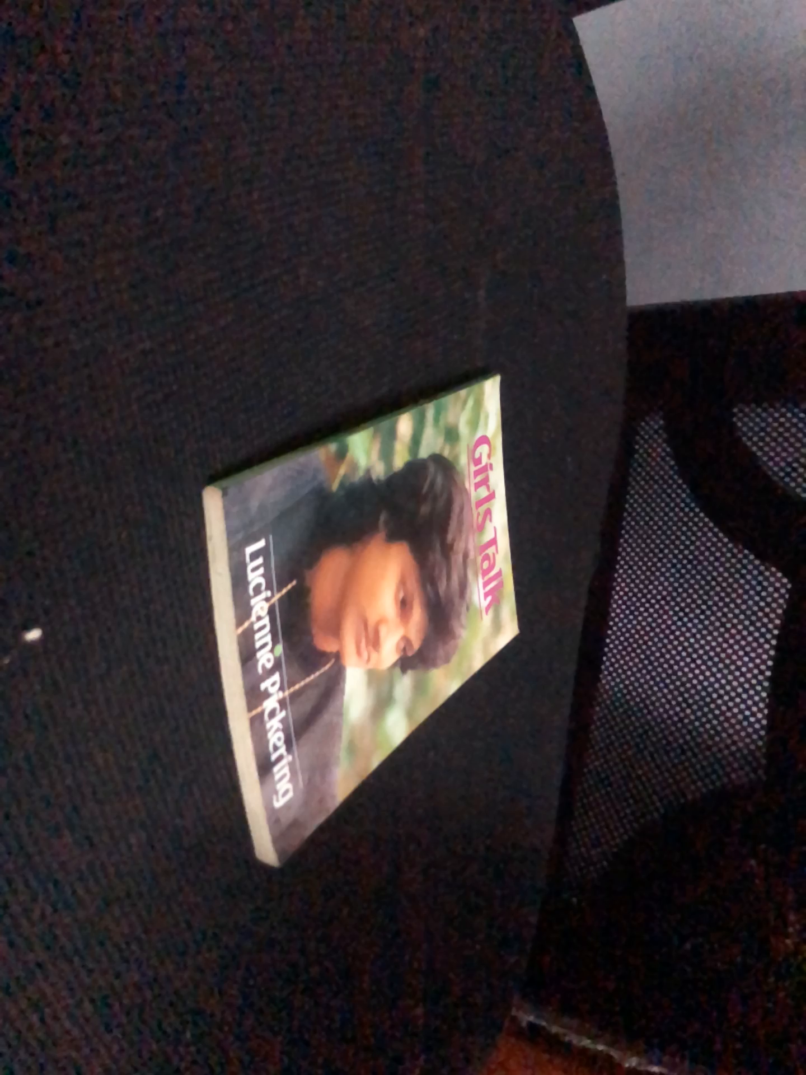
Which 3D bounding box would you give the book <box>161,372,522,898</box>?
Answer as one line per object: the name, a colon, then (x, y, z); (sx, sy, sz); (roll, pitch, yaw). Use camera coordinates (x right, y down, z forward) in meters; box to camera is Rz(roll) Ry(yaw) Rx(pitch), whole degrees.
book: (-0.003, 0.018, 0.336); (0.201, 0.010, 0.130); (-31, 120, -54)
